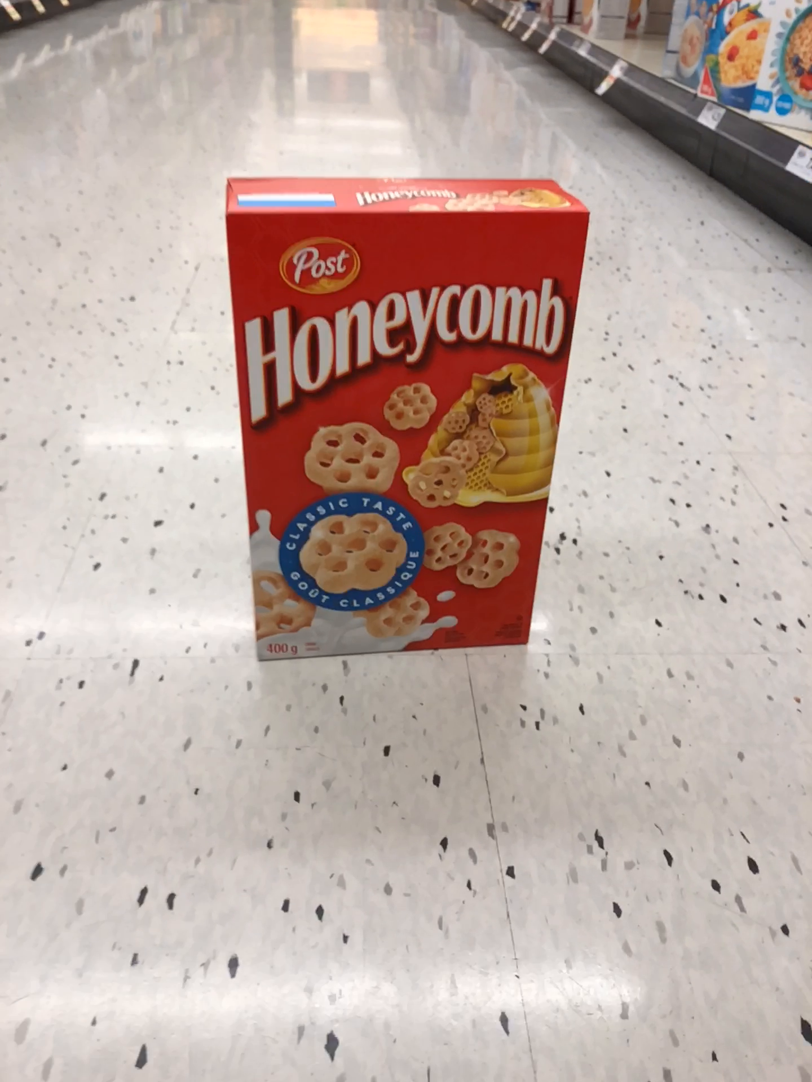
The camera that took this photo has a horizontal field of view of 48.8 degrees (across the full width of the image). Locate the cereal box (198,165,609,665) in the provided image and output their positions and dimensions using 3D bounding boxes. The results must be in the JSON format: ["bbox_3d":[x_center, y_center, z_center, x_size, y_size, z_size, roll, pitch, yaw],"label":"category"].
[{"bbox_3d":[-0.011,-0.070,0.572,0.210,0.298,0.091,-2,34,-8],"label":"cereal box"}]
